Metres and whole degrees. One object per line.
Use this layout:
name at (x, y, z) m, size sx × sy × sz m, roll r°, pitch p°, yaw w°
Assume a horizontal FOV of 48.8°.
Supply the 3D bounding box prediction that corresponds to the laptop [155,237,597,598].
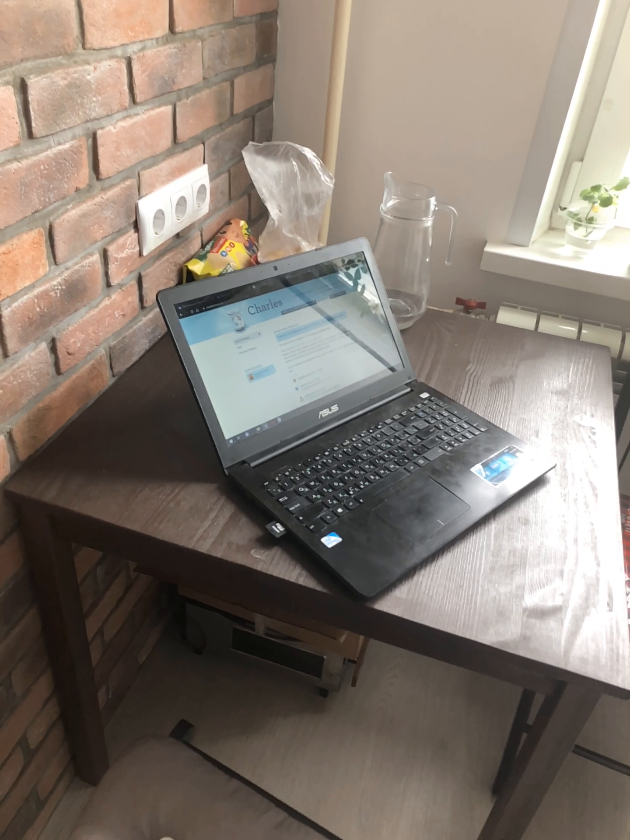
laptop at (0.066, -0.048, 0.901) m, size 0.373 × 0.186 × 0.401 m, roll -25°, pitch 45°, yaw -36°
